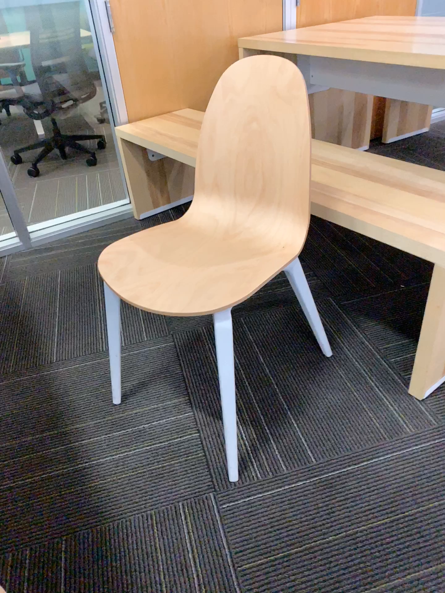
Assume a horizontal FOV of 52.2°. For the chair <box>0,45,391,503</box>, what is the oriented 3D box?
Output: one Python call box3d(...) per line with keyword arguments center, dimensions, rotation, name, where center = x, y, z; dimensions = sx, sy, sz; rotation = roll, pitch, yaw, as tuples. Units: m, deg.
box3d(center=(-0.013, -0.116, 1.087), dimensions=(0.522, 0.765, 0.652), rotation=(18, 41, 31), name="chair")
